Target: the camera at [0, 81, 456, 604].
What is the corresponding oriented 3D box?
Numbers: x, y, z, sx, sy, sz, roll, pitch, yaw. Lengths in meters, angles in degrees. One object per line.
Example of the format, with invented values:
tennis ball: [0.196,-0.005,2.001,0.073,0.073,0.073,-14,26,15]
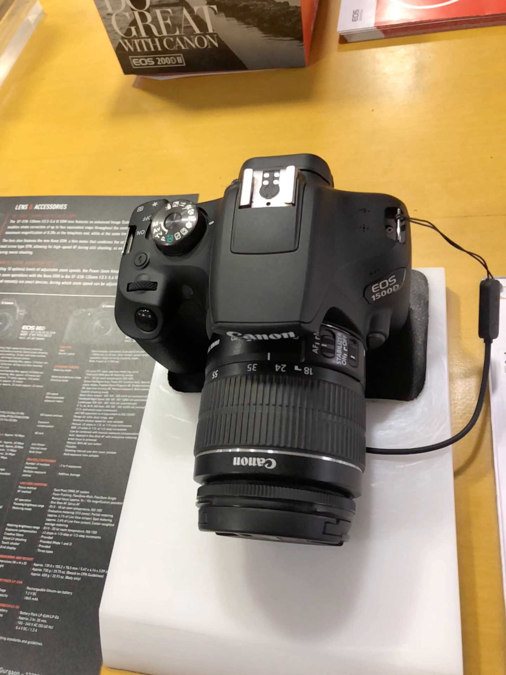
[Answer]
camera: [-0.010,0.004,0.197,0.140,0.090,0.141,0,60,15]
